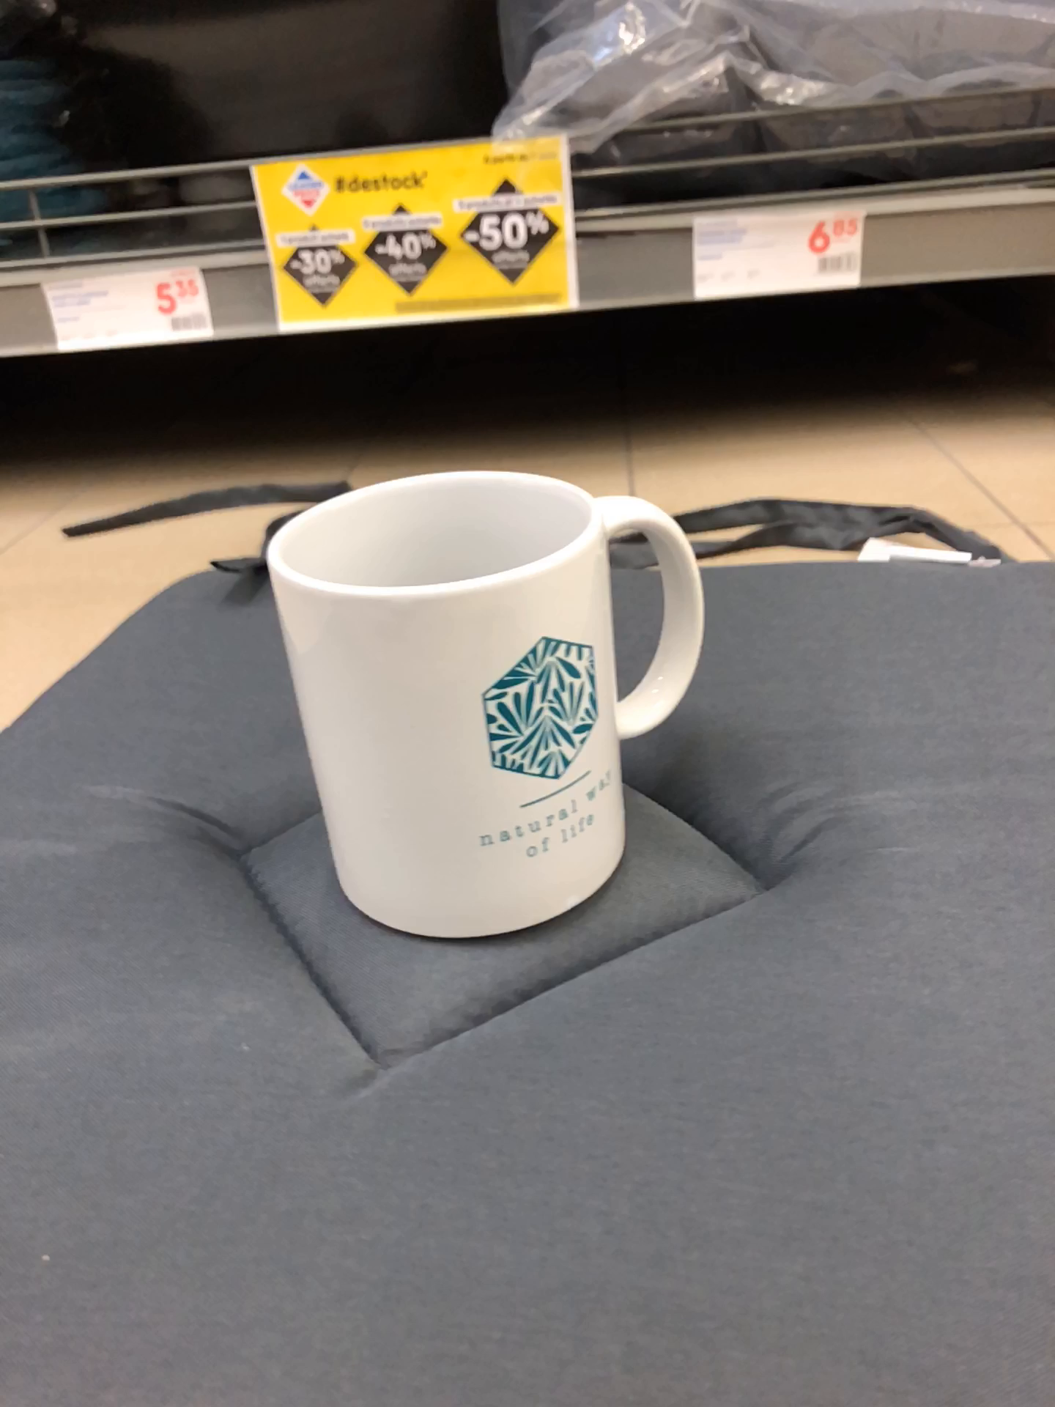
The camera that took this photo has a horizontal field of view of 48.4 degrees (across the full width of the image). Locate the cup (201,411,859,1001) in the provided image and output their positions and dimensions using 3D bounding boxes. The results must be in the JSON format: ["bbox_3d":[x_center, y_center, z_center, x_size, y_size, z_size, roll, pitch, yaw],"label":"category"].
[{"bbox_3d":[0.004,-0.011,0.300,0.130,0.090,0.090,-21,30,-28],"label":"cup"}]
